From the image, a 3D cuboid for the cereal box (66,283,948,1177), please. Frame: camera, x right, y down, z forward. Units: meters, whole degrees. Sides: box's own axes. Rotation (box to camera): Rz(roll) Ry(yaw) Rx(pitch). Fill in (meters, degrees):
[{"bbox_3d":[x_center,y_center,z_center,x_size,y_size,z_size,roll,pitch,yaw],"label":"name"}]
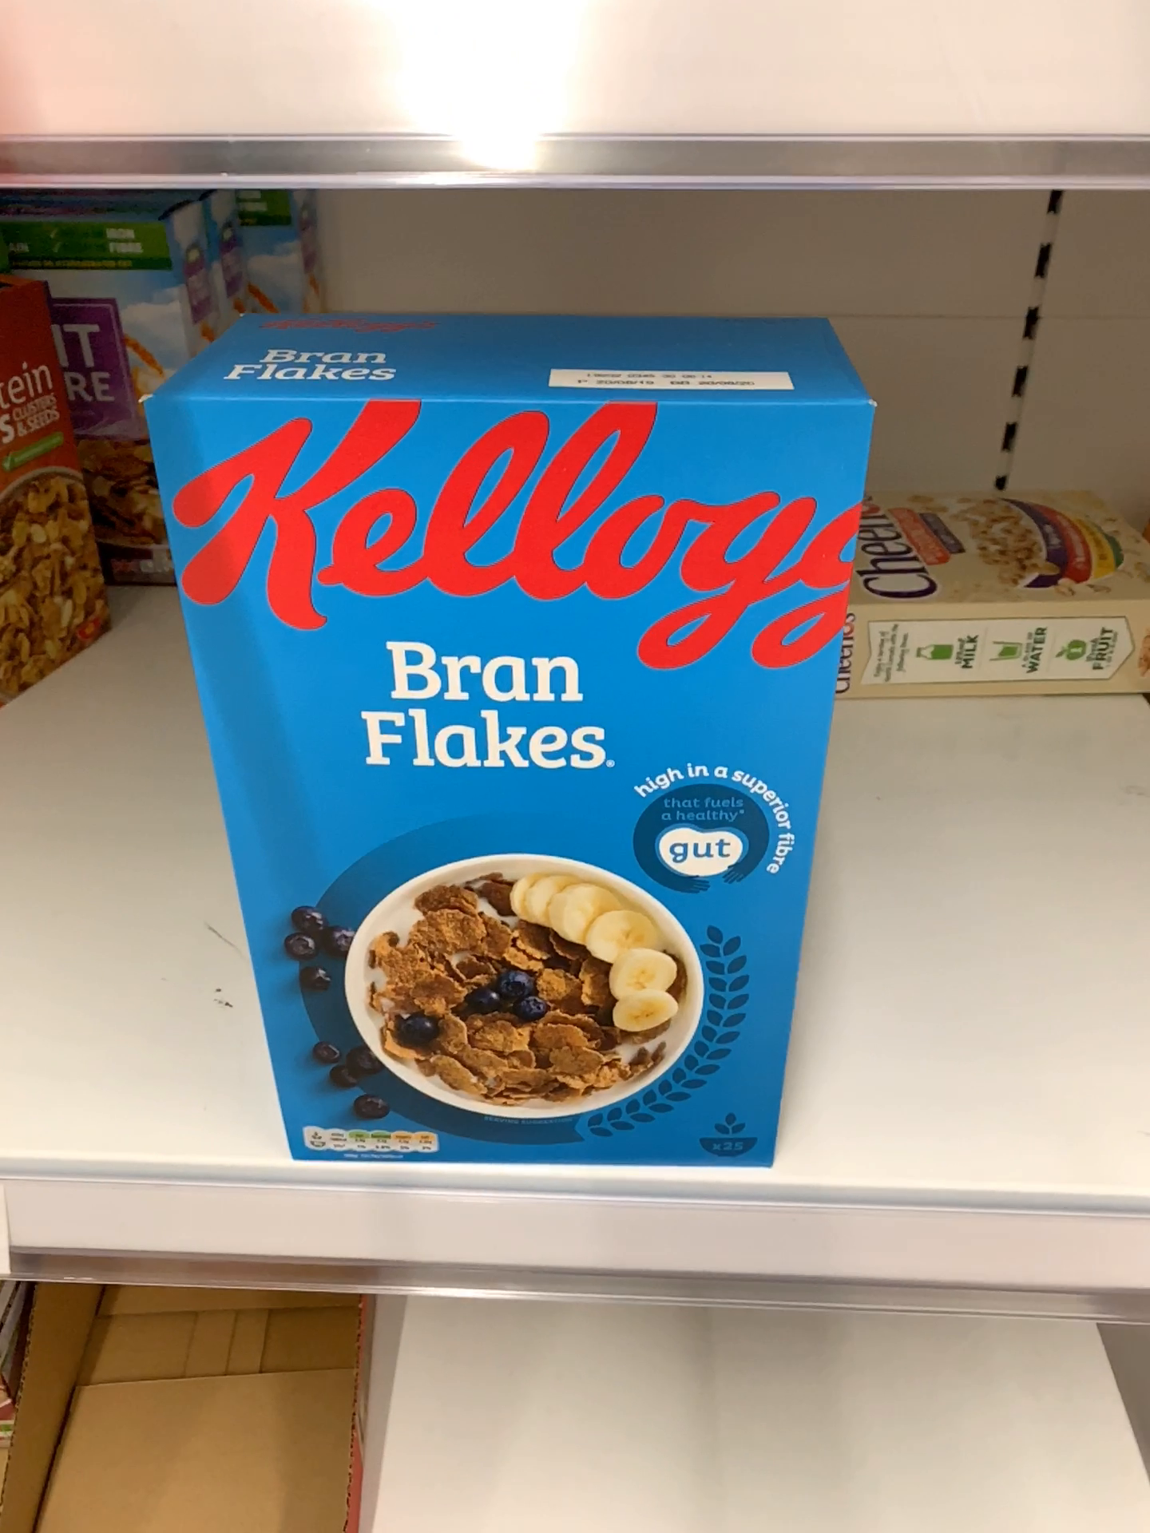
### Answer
[{"bbox_3d":[-0.015,0.004,0.401,0.210,0.297,0.091,0,34,1],"label":"cereal box"}]
